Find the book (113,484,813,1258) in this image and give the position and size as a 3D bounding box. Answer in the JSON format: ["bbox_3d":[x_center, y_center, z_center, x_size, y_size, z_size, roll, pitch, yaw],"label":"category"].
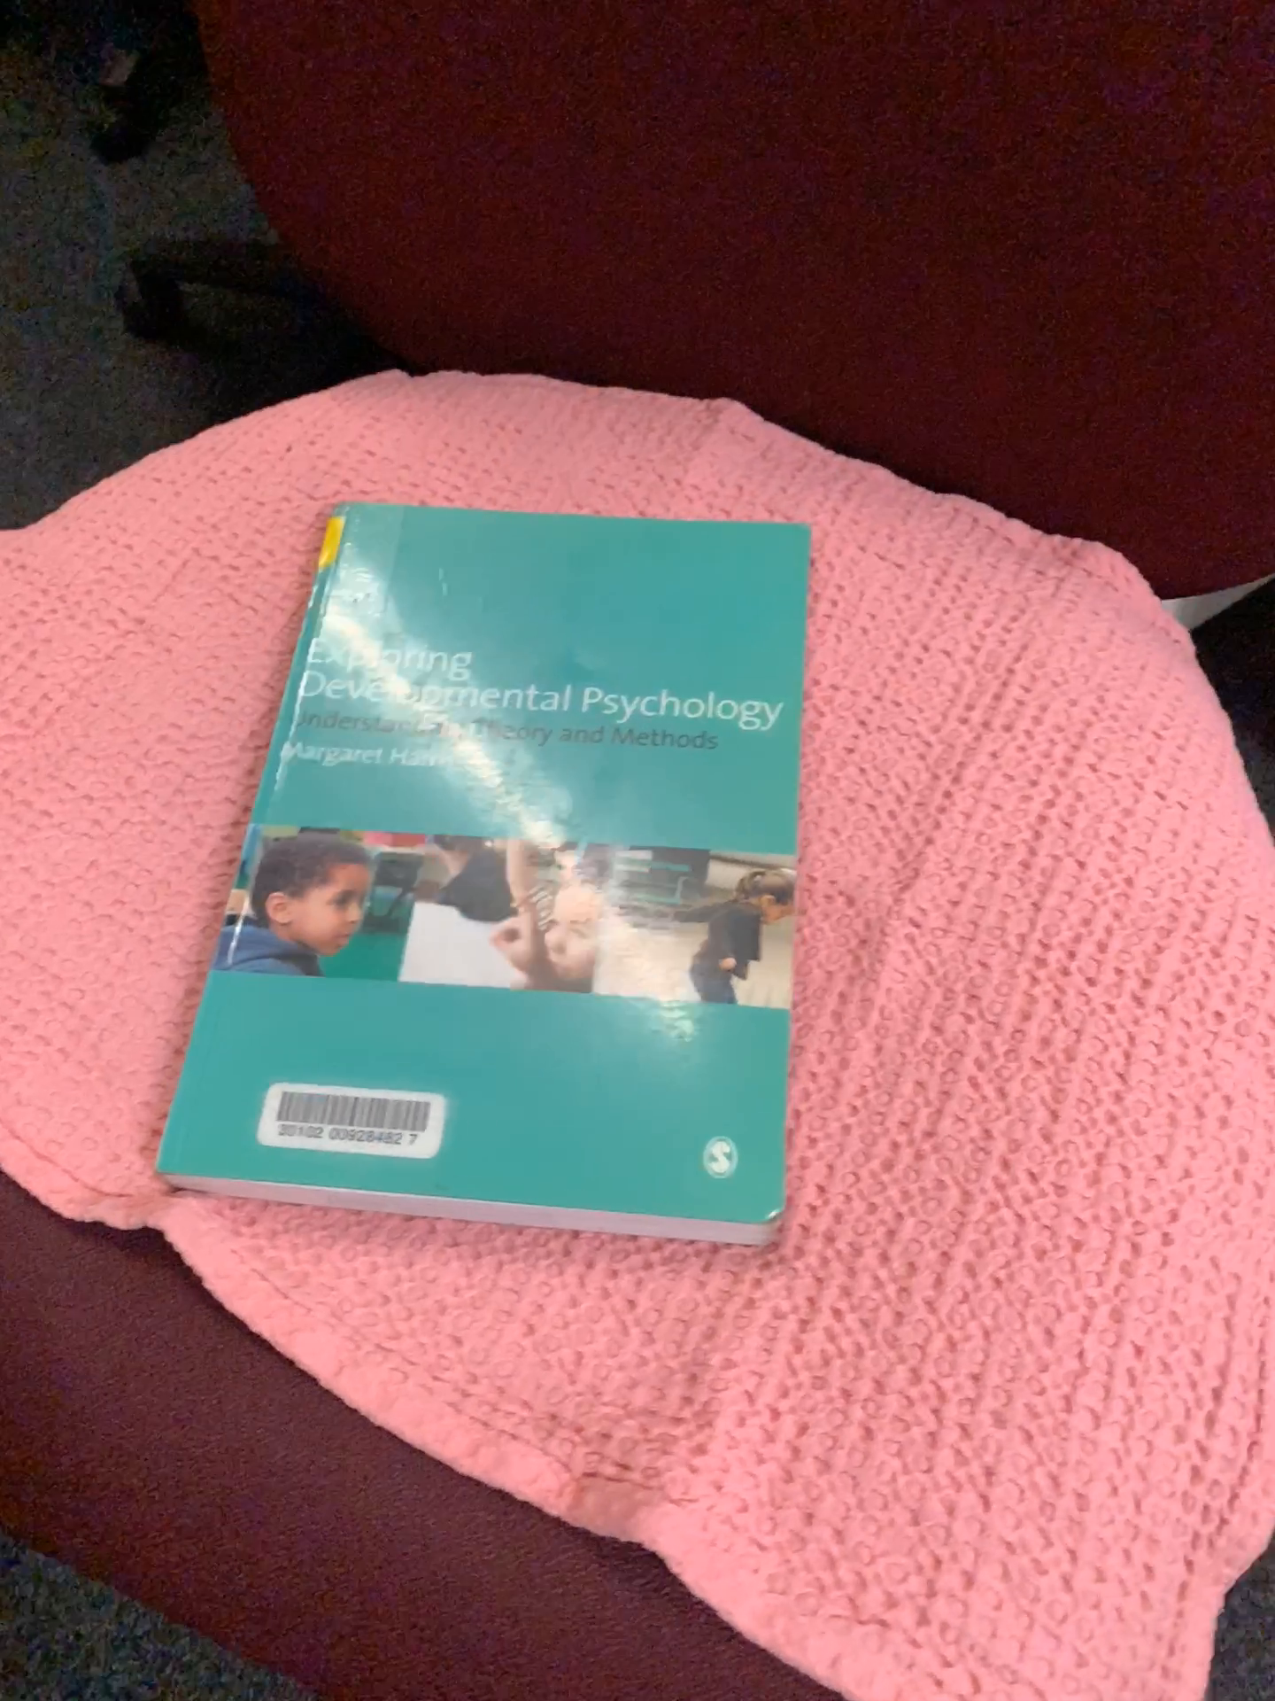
[{"bbox_3d":[-0.037,-0.009,0.407,0.175,0.030,0.246,4,60,4],"label":"book"}]
